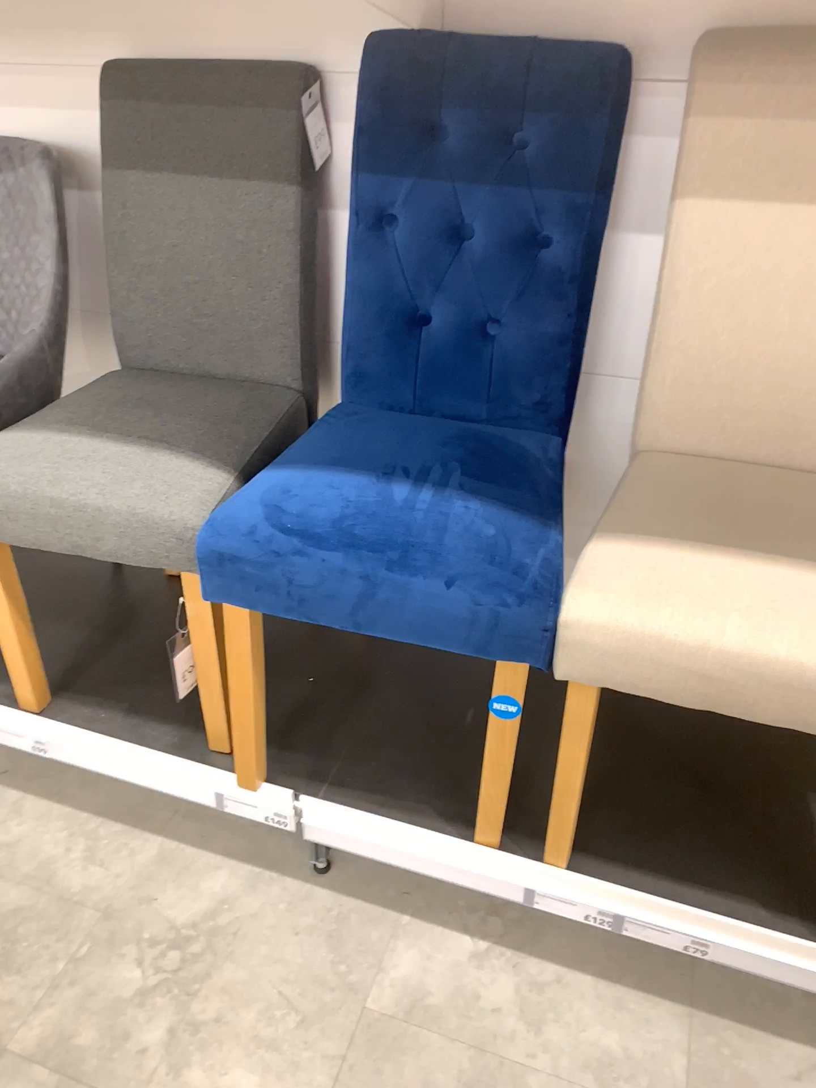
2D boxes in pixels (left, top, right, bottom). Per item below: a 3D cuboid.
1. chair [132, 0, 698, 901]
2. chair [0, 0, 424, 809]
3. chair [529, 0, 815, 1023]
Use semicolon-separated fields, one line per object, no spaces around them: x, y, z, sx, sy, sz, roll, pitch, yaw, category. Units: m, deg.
0.065;-0.175;1.225;0.490;1.035;0.672;10;28;16;chair
-0.331;-0.249;1.362;0.490;1.025;0.672;10;28;16;chair
0.517;-0.092;1.084;0.490;1.035;0.672;10;28;16;chair
